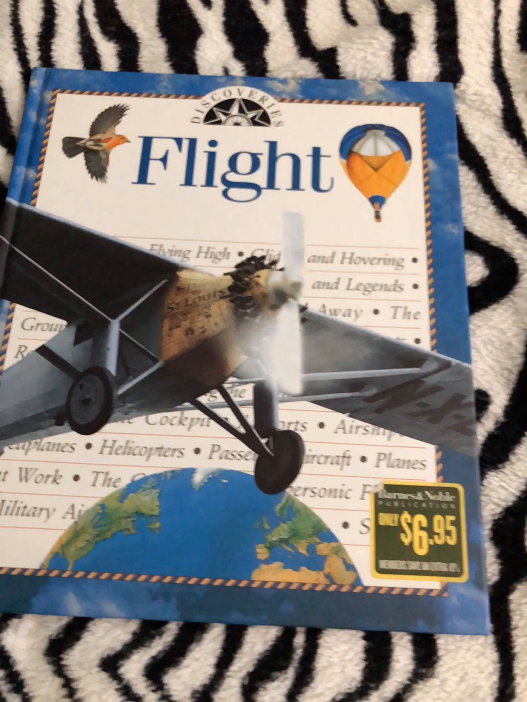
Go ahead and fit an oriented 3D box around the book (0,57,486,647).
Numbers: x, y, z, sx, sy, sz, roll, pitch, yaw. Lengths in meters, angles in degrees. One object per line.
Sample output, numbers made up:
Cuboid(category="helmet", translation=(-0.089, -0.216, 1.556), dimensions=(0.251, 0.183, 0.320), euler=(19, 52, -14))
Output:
Cuboid(category="book", translation=(-0.028, -0.020, 0.305), dimensions=(0.258, 0.020, 0.301), euler=(3, 71, 0))
